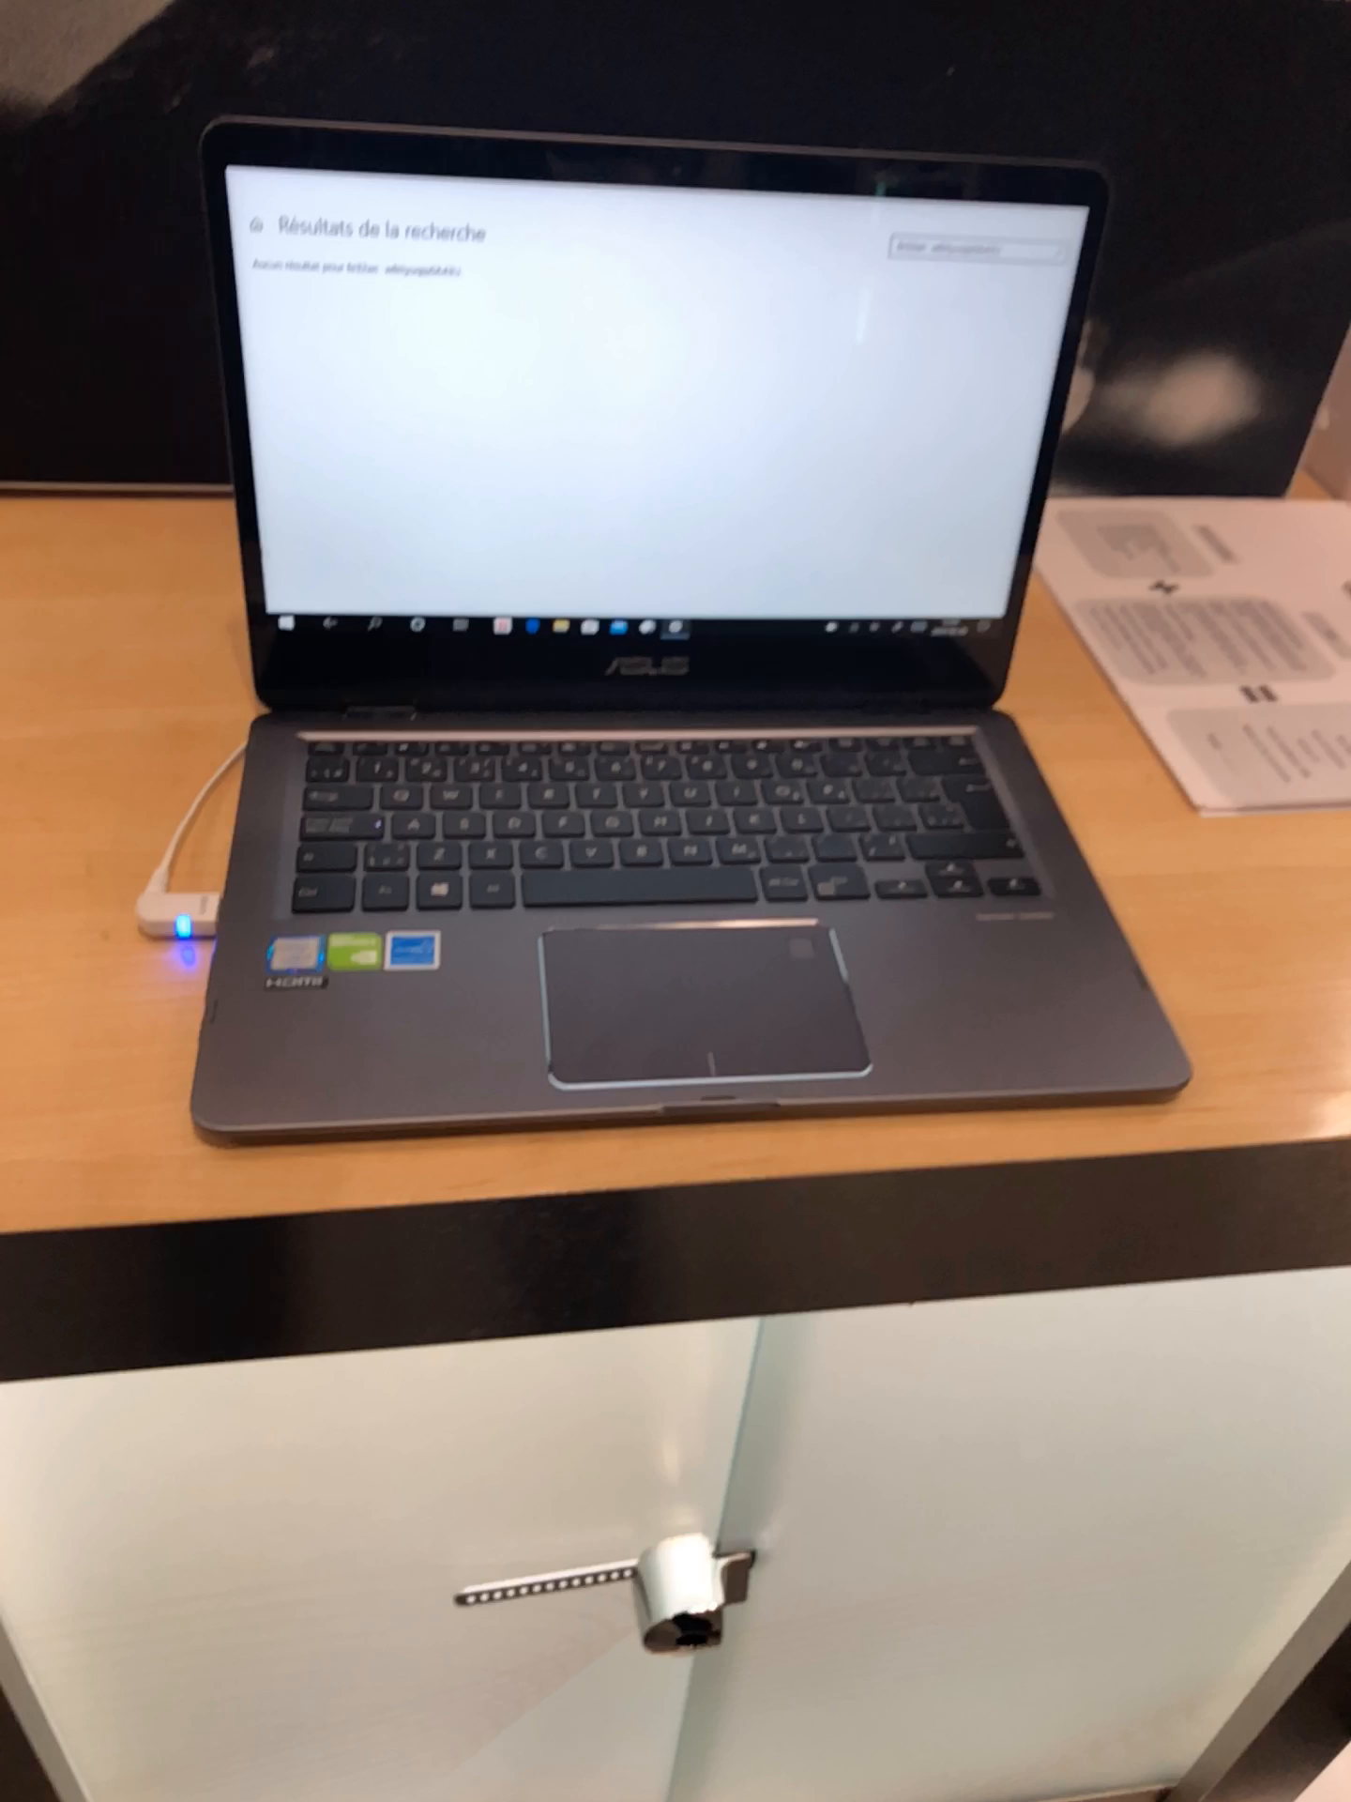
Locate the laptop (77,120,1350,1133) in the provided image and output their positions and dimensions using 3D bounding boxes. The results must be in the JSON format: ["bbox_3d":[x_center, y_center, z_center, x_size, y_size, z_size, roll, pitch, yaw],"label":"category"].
[{"bbox_3d":[0.009,-0.096,0.499,0.320,0.224,0.240,-1,41,-9],"label":"laptop"}]
